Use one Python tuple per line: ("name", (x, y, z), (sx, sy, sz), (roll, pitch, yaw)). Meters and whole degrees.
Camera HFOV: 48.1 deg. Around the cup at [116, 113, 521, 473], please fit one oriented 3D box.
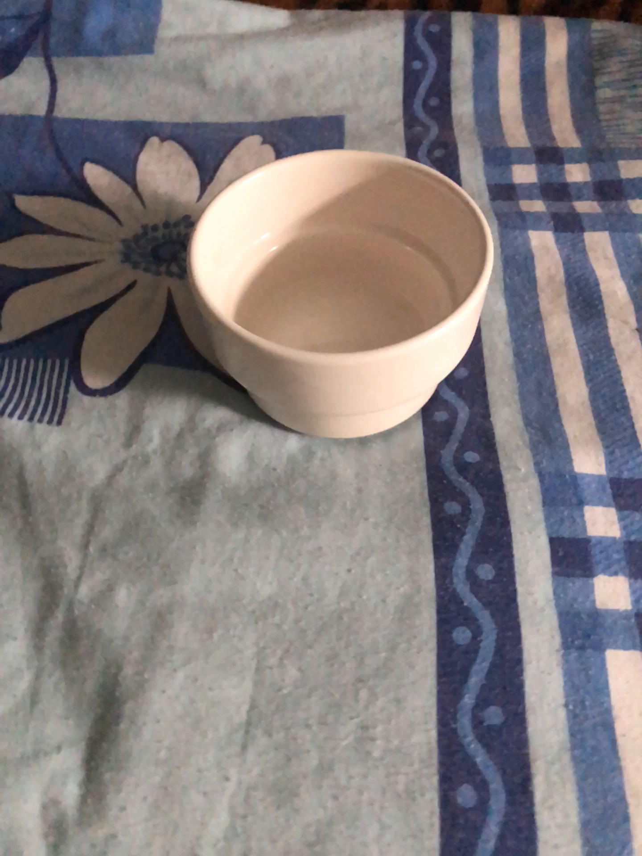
("cup", (0.003, -0.040, 0.208), (0.091, 0.047, 0.077), (11, 60, 7))
